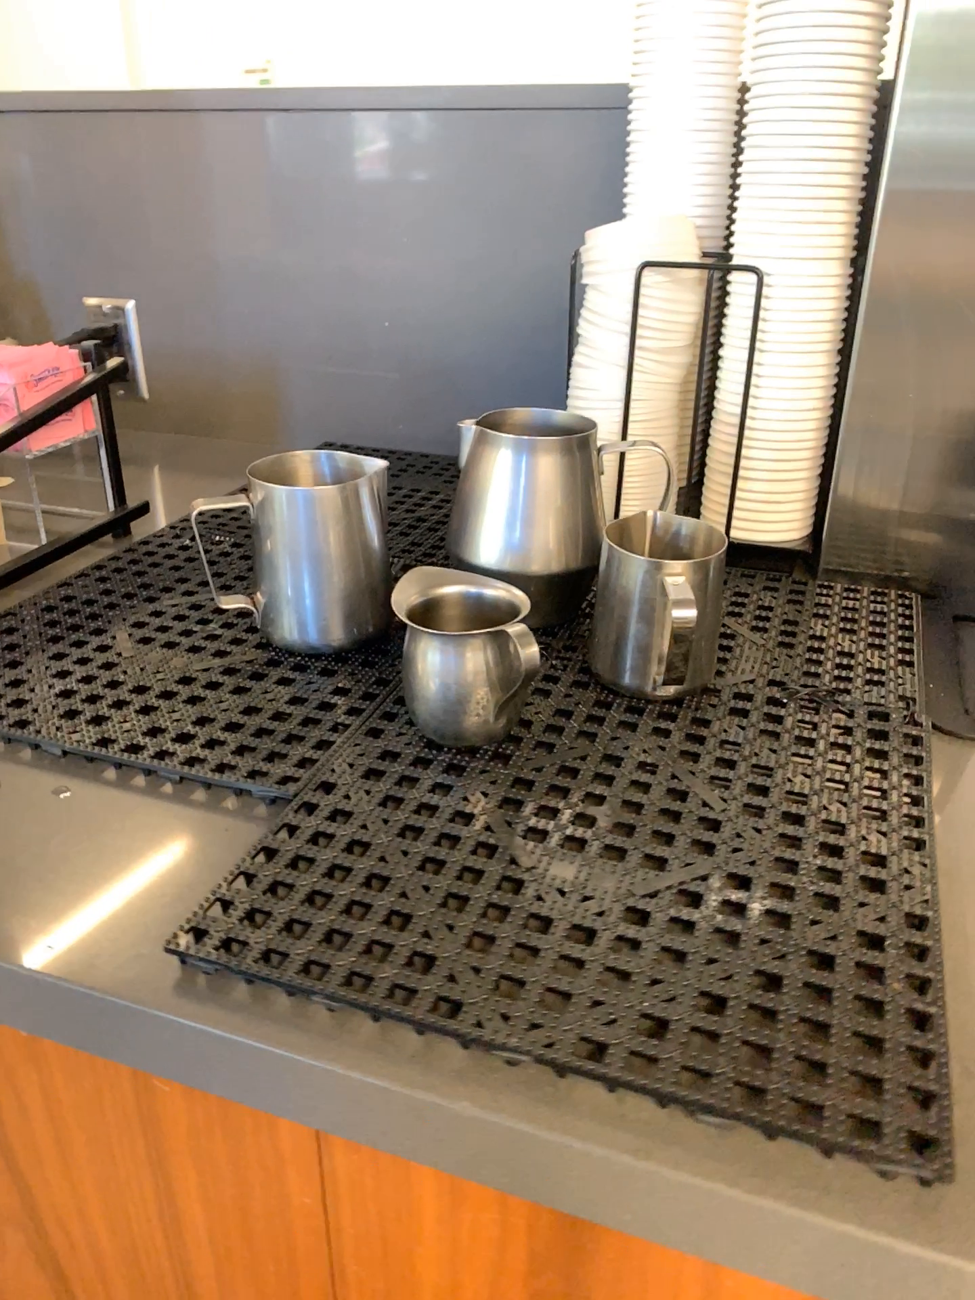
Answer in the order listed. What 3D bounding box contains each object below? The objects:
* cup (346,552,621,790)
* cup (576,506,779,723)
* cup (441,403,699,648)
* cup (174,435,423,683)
[{"bbox_3d":[-0.005,0.004,0.506,0.080,0.060,0.121,-18,32,-32],"label":"cup"},{"bbox_3d":[0.099,-0.023,0.554,0.080,0.080,0.111,-1,26,-3],"label":"cup"},{"bbox_3d":[0.050,-0.084,0.658,0.150,0.129,0.101,2,26,3],"label":"cup"},{"bbox_3d":[-0.112,-0.059,0.603,0.120,0.109,0.080,-13,29,-26],"label":"cup"}]
